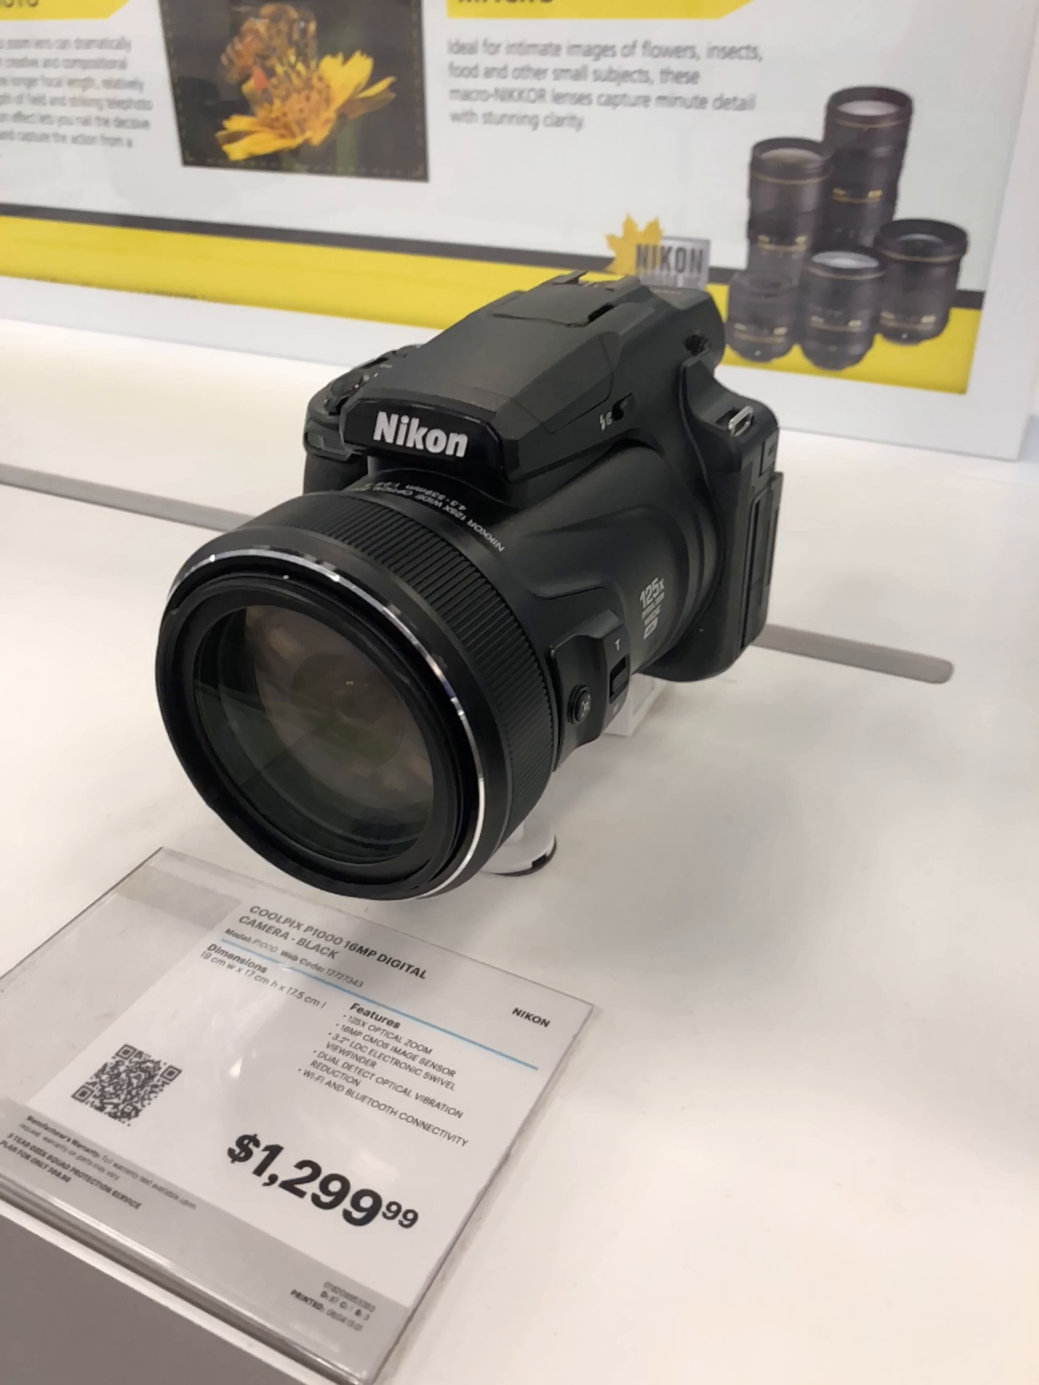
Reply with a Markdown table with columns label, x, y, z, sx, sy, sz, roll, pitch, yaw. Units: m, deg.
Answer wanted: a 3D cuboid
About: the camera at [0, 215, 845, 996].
| label | x | y | z | sx | sy | sz | roll | pitch | yaw |
| --- | --- | --- | --- | --- | --- | --- | --- | --- | --- |
| camera | -0.025 | -0.049 | 0.308 | 0.160 | 0.110 | 0.191 | 15 | 34 | 24 |
